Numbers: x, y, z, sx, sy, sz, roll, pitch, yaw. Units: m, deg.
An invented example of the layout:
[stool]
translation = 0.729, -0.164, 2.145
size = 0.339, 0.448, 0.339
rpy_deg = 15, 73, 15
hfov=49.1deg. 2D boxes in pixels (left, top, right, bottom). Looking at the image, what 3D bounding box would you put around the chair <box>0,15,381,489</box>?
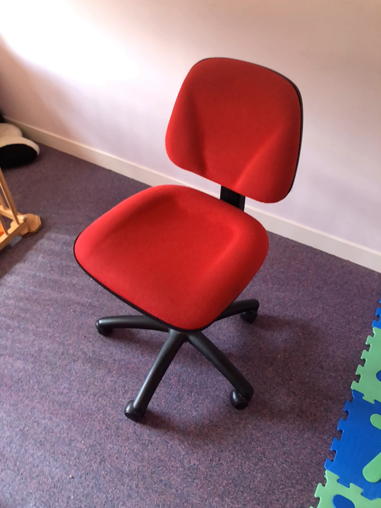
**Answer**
[chair]
translation = -0.015, 0.000, 1.134
size = 0.640, 0.895, 0.674
rpy_deg = 29, 53, 24
